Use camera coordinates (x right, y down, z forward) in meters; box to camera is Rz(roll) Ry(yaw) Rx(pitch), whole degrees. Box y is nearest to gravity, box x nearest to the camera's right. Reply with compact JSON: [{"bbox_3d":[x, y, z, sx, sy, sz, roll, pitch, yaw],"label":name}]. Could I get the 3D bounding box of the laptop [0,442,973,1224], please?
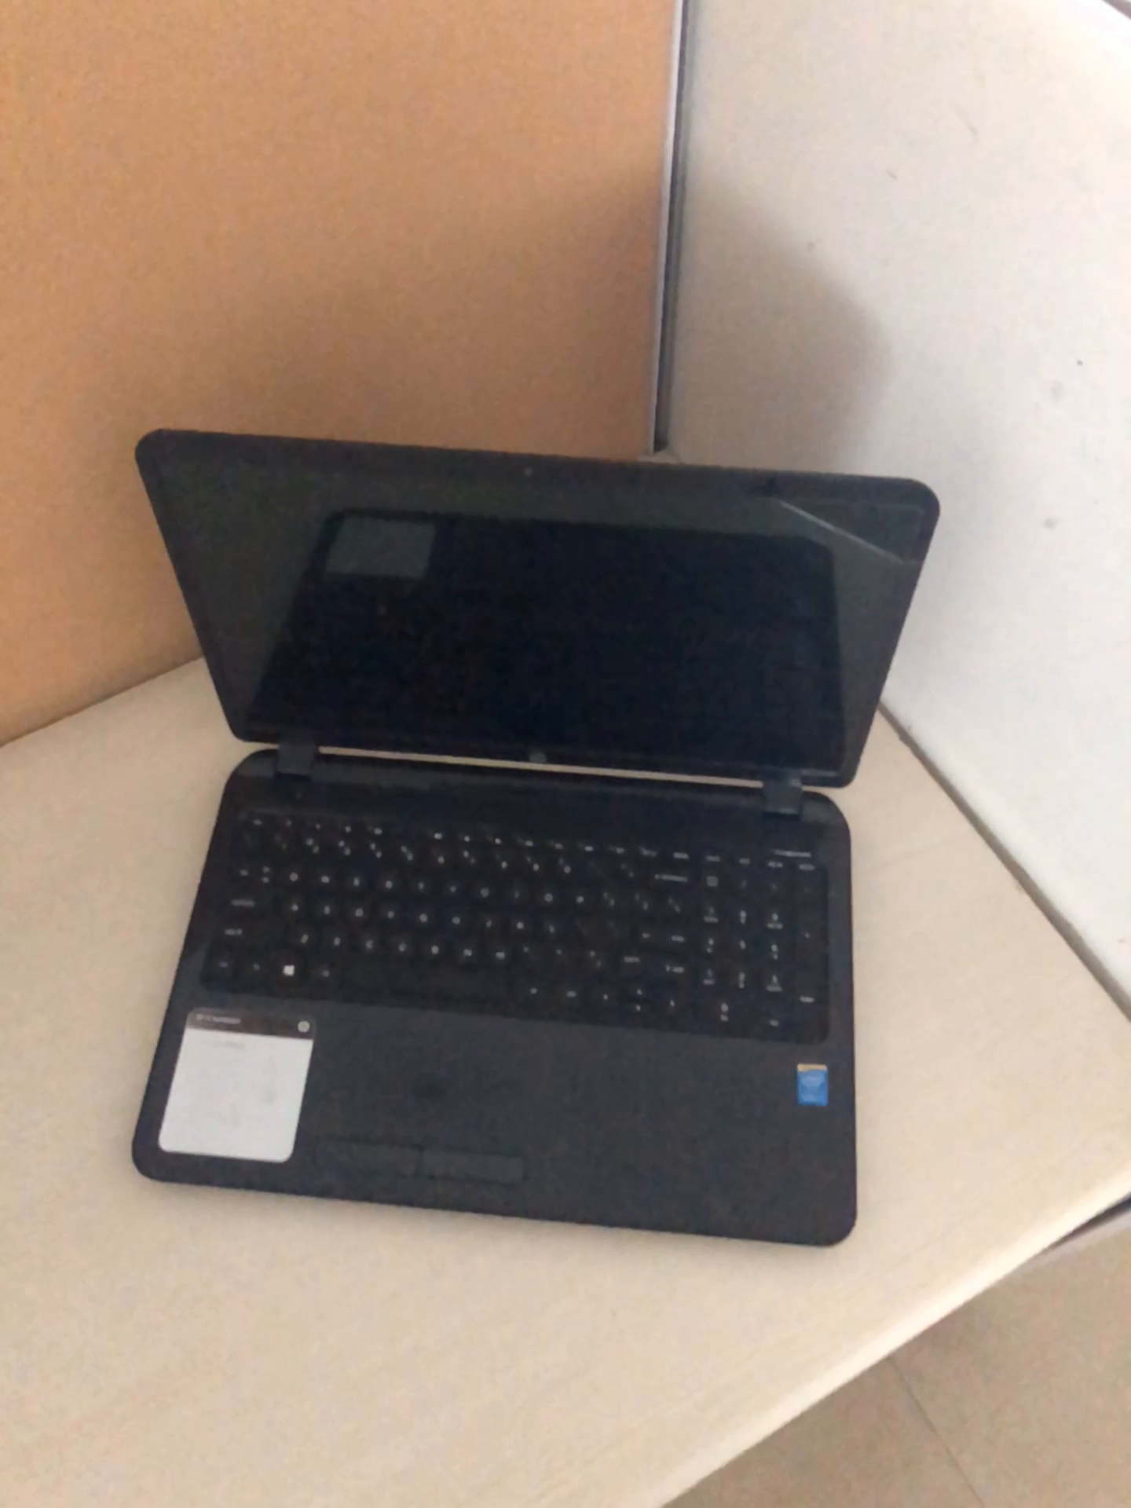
[{"bbox_3d":[-0.017,0.045,0.594,0.350,0.226,0.266,5,61,3],"label":"laptop"}]
